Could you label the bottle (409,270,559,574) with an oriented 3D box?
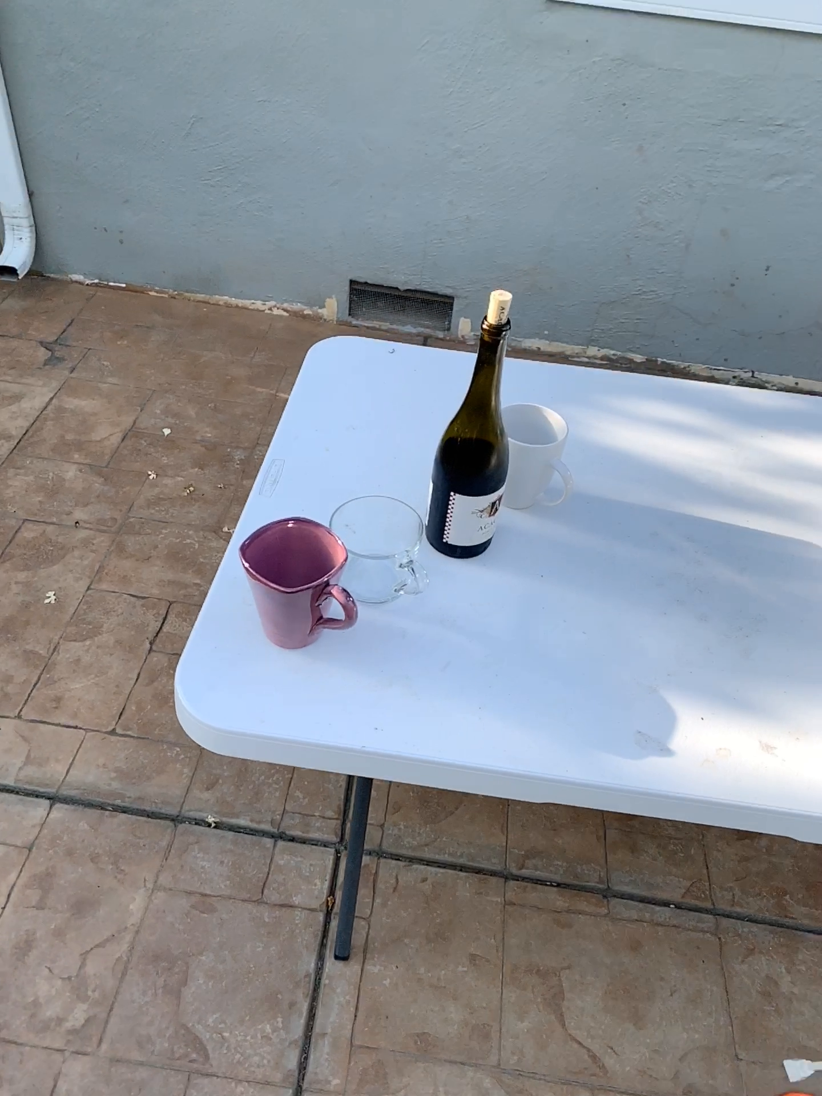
[{"bbox_3d":[0.070,-0.124,0.902,0.090,0.308,0.080,26,45,20],"label":"bottle"}]
